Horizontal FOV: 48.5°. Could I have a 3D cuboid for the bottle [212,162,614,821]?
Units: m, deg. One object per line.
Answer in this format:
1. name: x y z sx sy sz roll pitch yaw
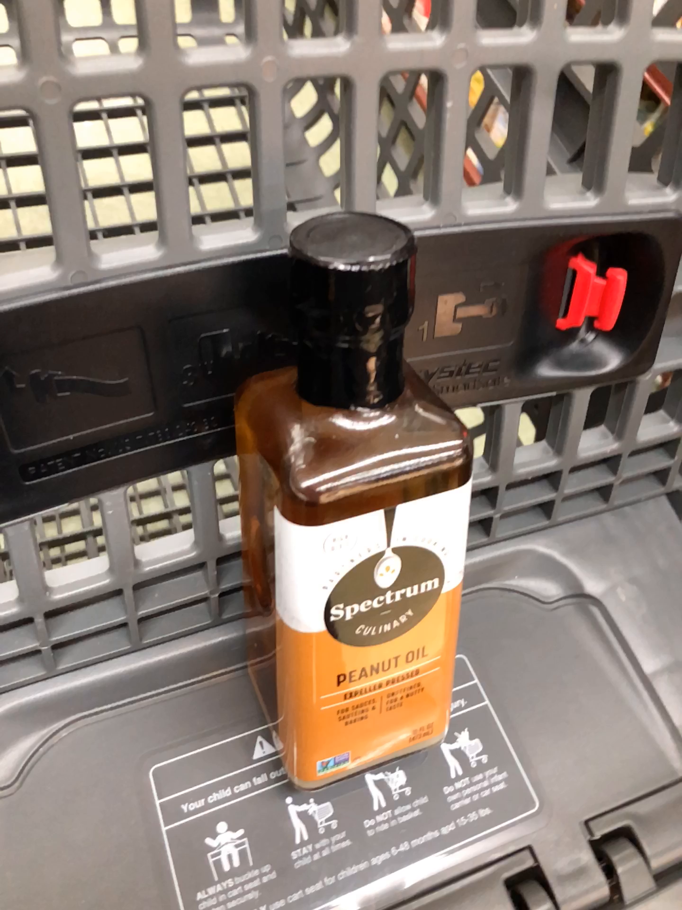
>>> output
1. bottle: 0.013 0.020 0.235 0.070 0.190 0.070 0 37 0
